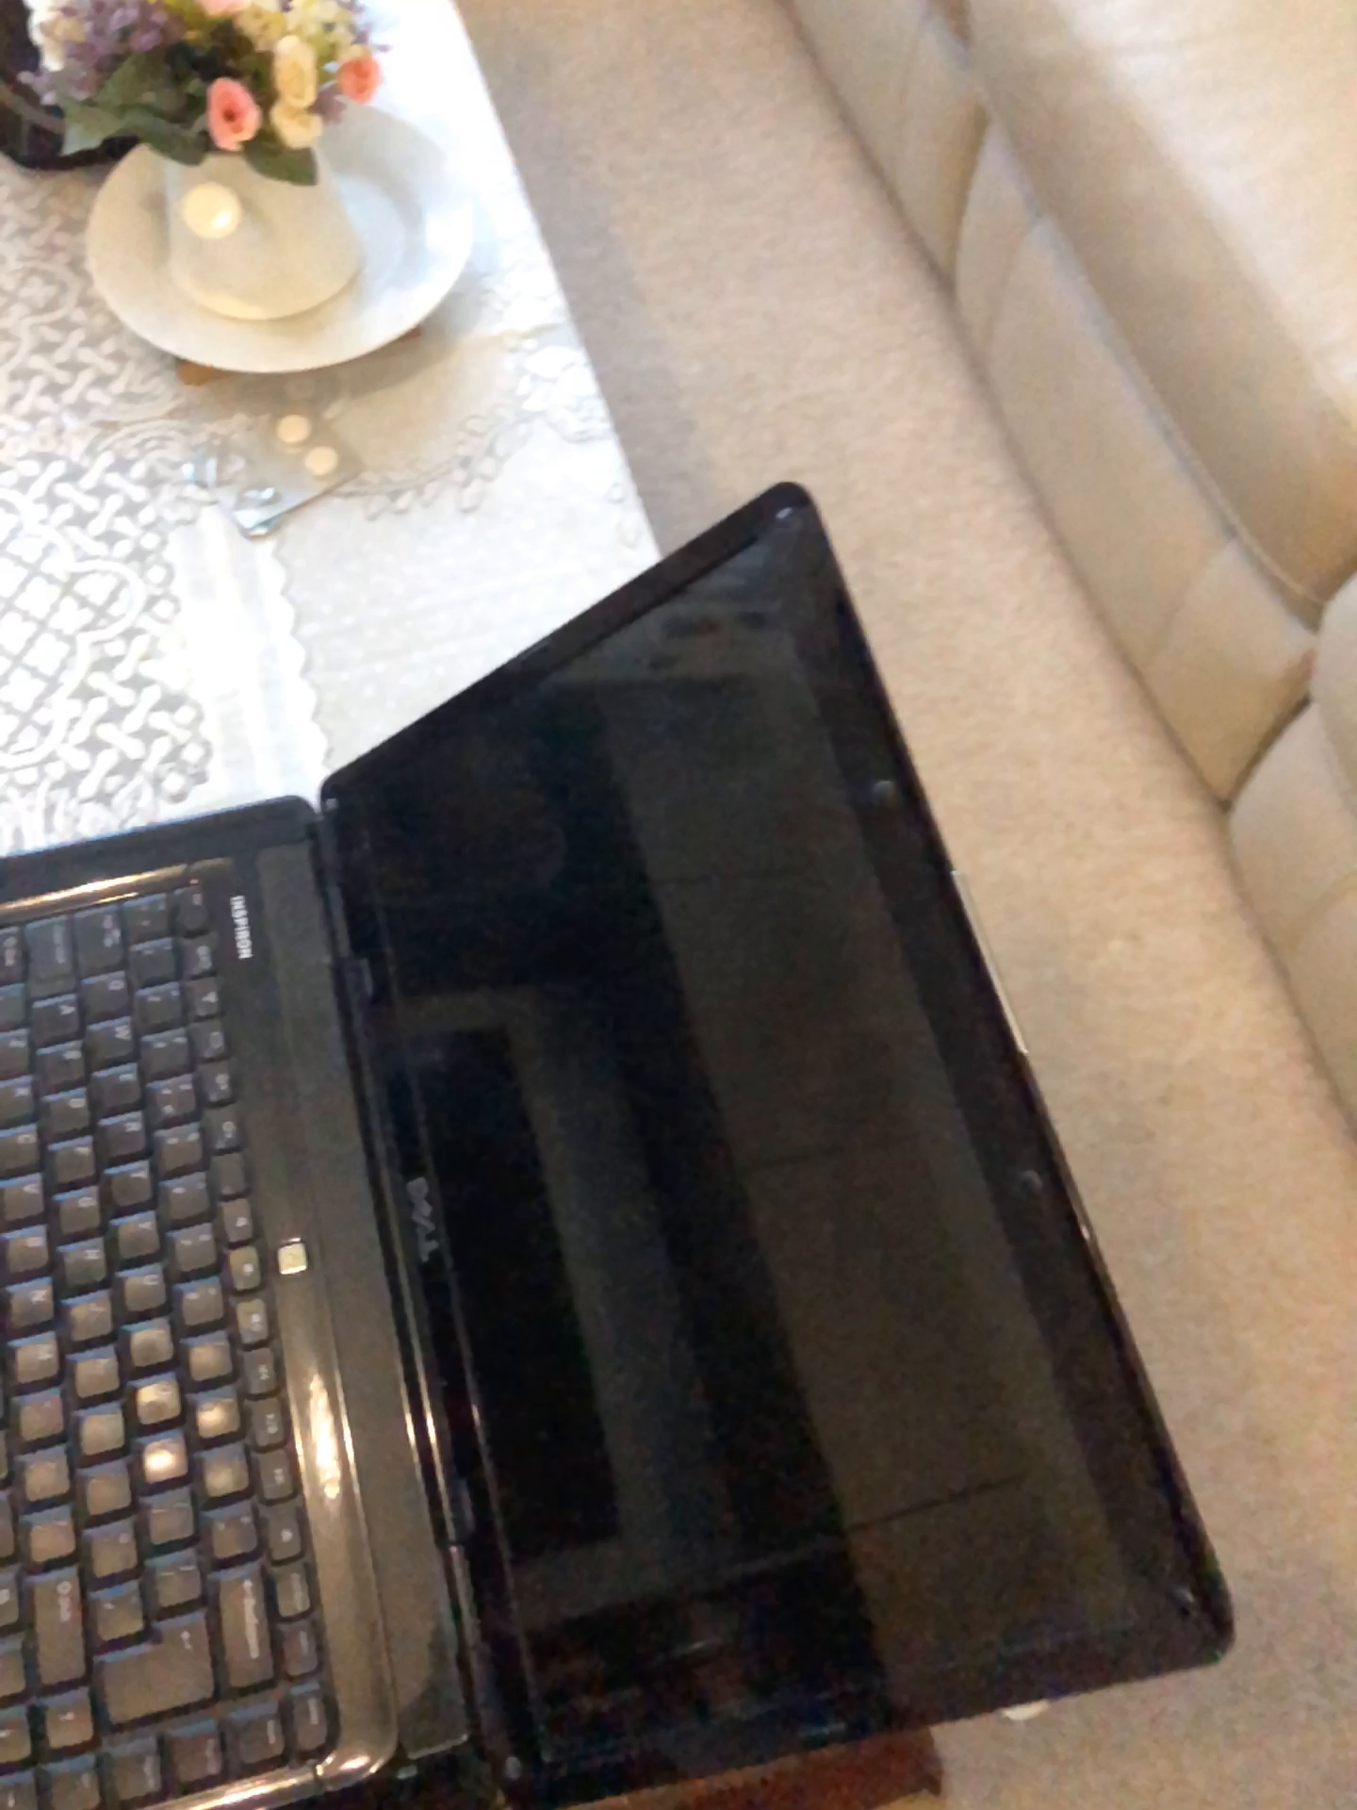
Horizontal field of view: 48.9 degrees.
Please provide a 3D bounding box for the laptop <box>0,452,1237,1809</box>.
[{"bbox_3d":[-0.108,0.082,0.481,0.418,0.122,0.365,-14,67,-6],"label":"laptop"}]
